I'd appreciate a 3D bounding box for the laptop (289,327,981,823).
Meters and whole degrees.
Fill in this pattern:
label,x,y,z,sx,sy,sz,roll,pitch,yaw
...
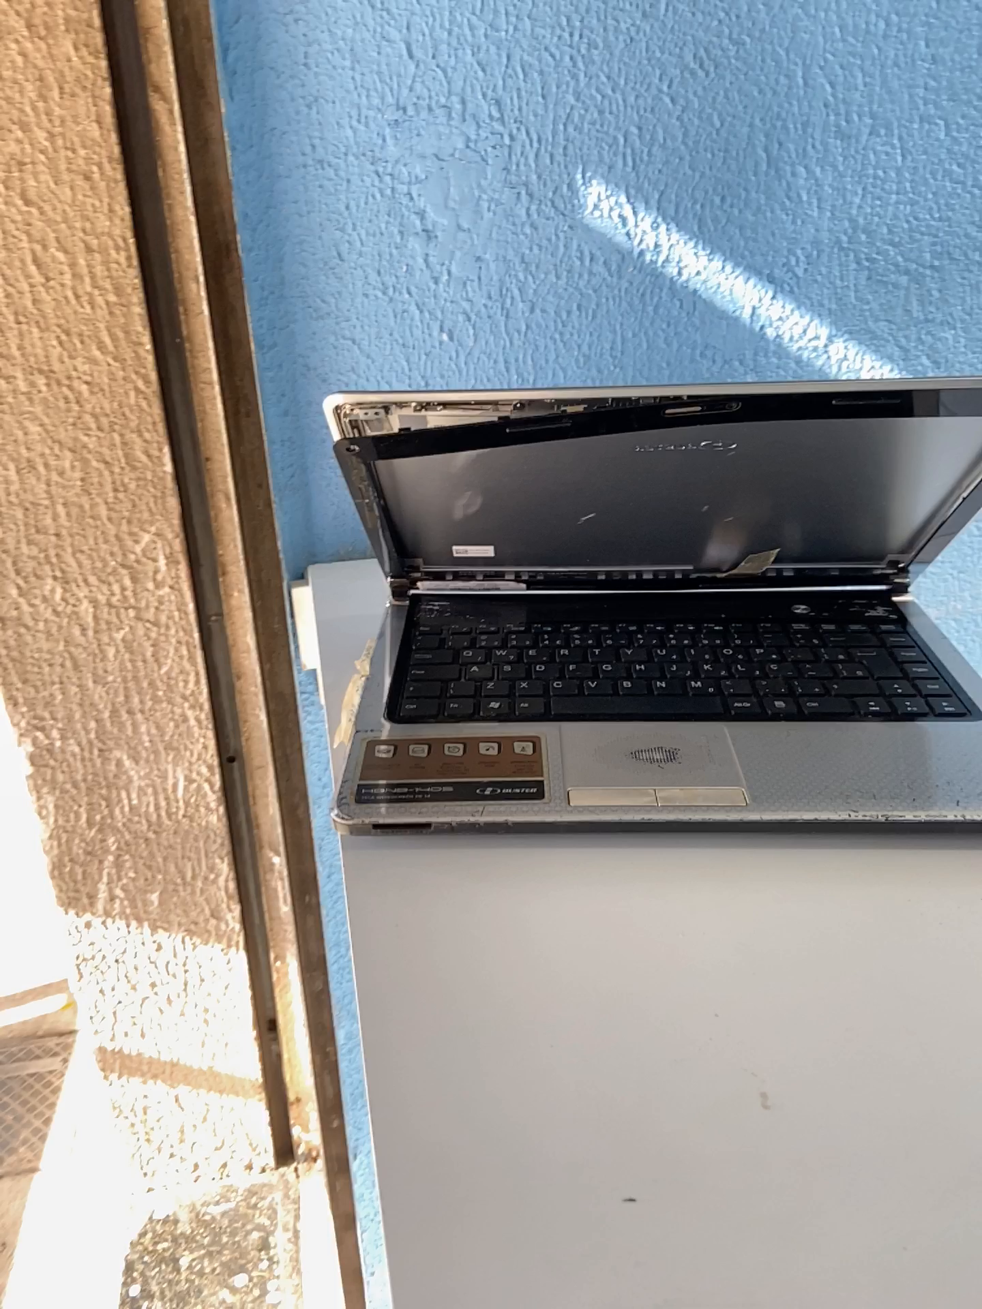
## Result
label,x,y,z,sx,sy,sz,roll,pitch,yaw
laptop,0.093,-0.056,0.505,0.325,0.160,0.233,-1,27,2
